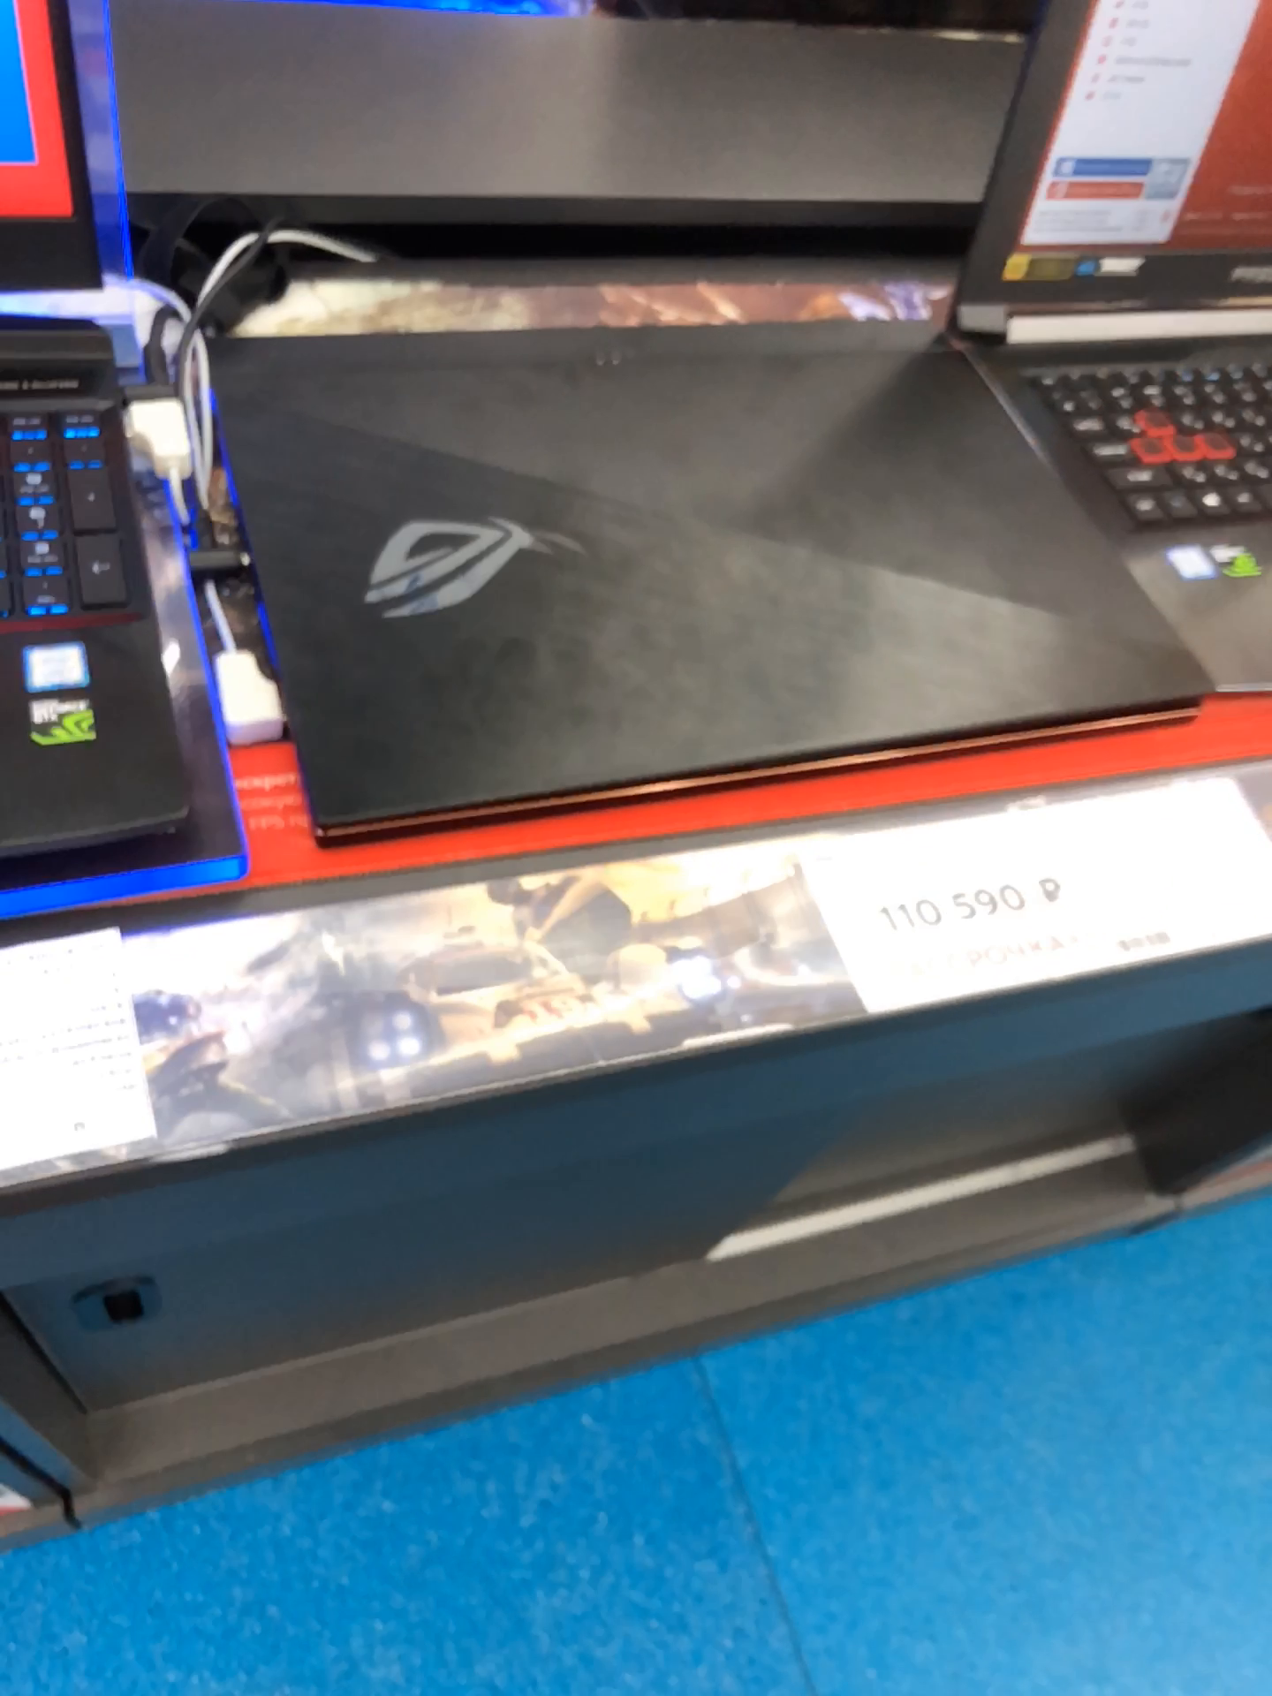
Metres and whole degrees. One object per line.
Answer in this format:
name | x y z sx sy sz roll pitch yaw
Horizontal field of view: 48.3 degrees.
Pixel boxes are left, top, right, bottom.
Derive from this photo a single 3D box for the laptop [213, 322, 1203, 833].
laptop | 0.025 -0.133 0.578 0.348 0.006 0.254 -9 56 -19
